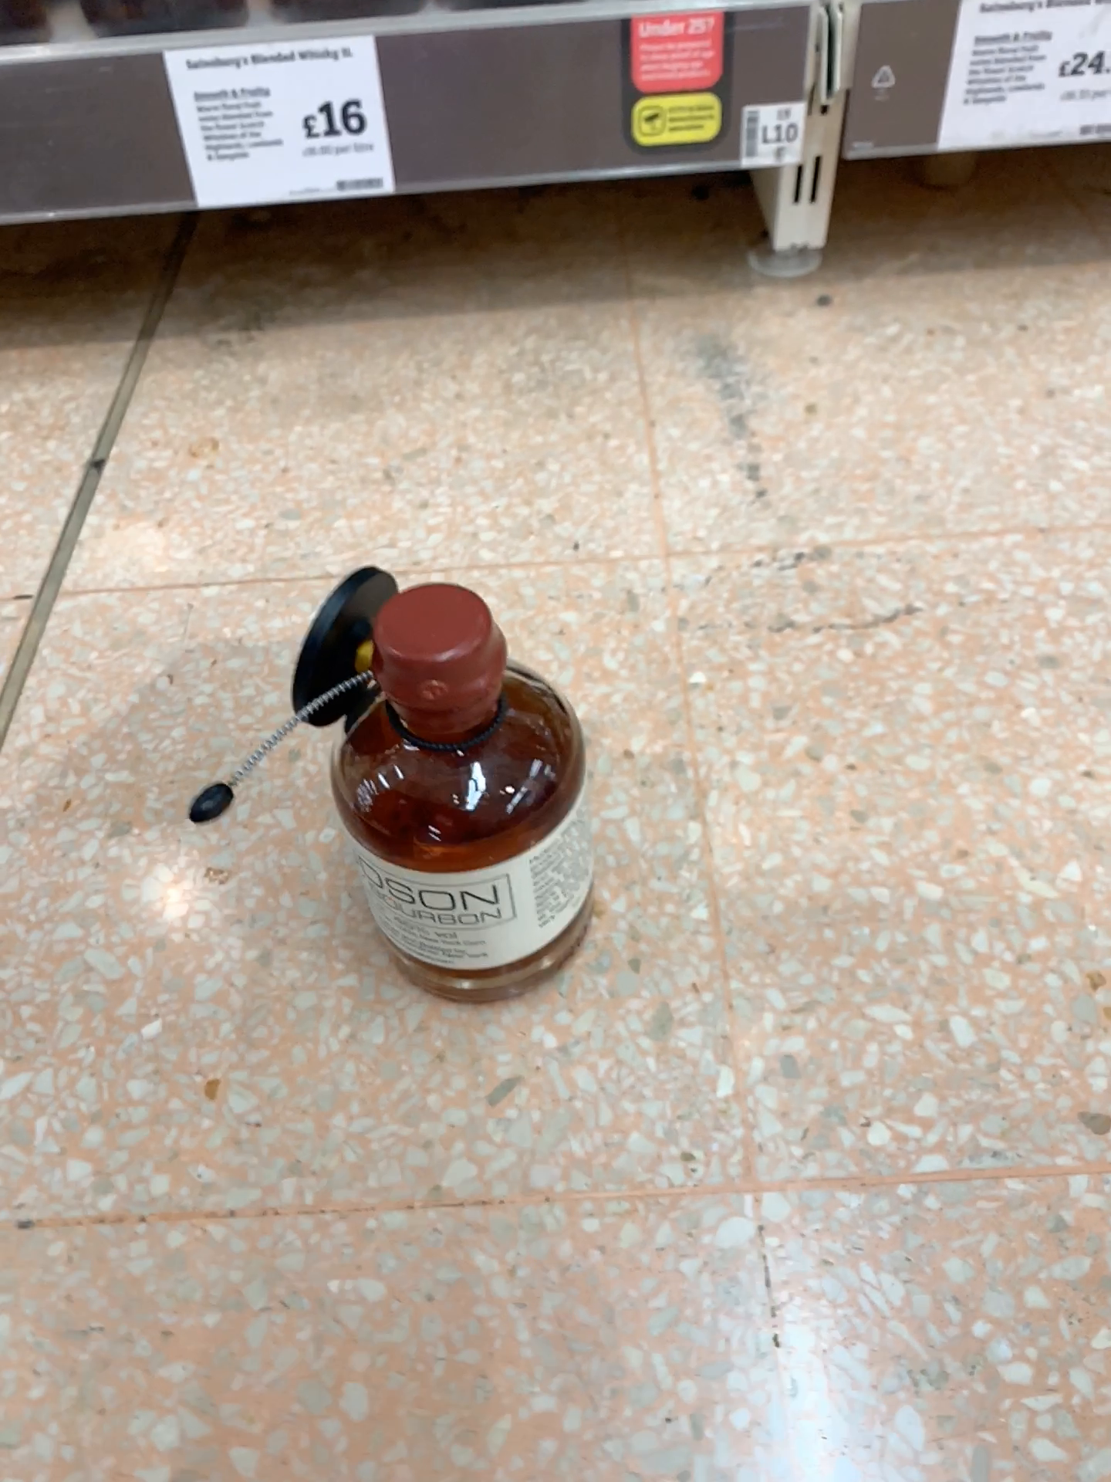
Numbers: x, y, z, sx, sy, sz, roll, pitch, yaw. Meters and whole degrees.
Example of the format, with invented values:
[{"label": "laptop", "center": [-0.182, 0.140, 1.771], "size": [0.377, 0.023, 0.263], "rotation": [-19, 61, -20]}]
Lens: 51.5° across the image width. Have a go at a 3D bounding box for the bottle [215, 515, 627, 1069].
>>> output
[{"label": "bottle", "center": [-0.030, 0.020, 0.345], "size": [0.075, 0.142, 0.073], "rotation": [-2, 49, 3]}]
